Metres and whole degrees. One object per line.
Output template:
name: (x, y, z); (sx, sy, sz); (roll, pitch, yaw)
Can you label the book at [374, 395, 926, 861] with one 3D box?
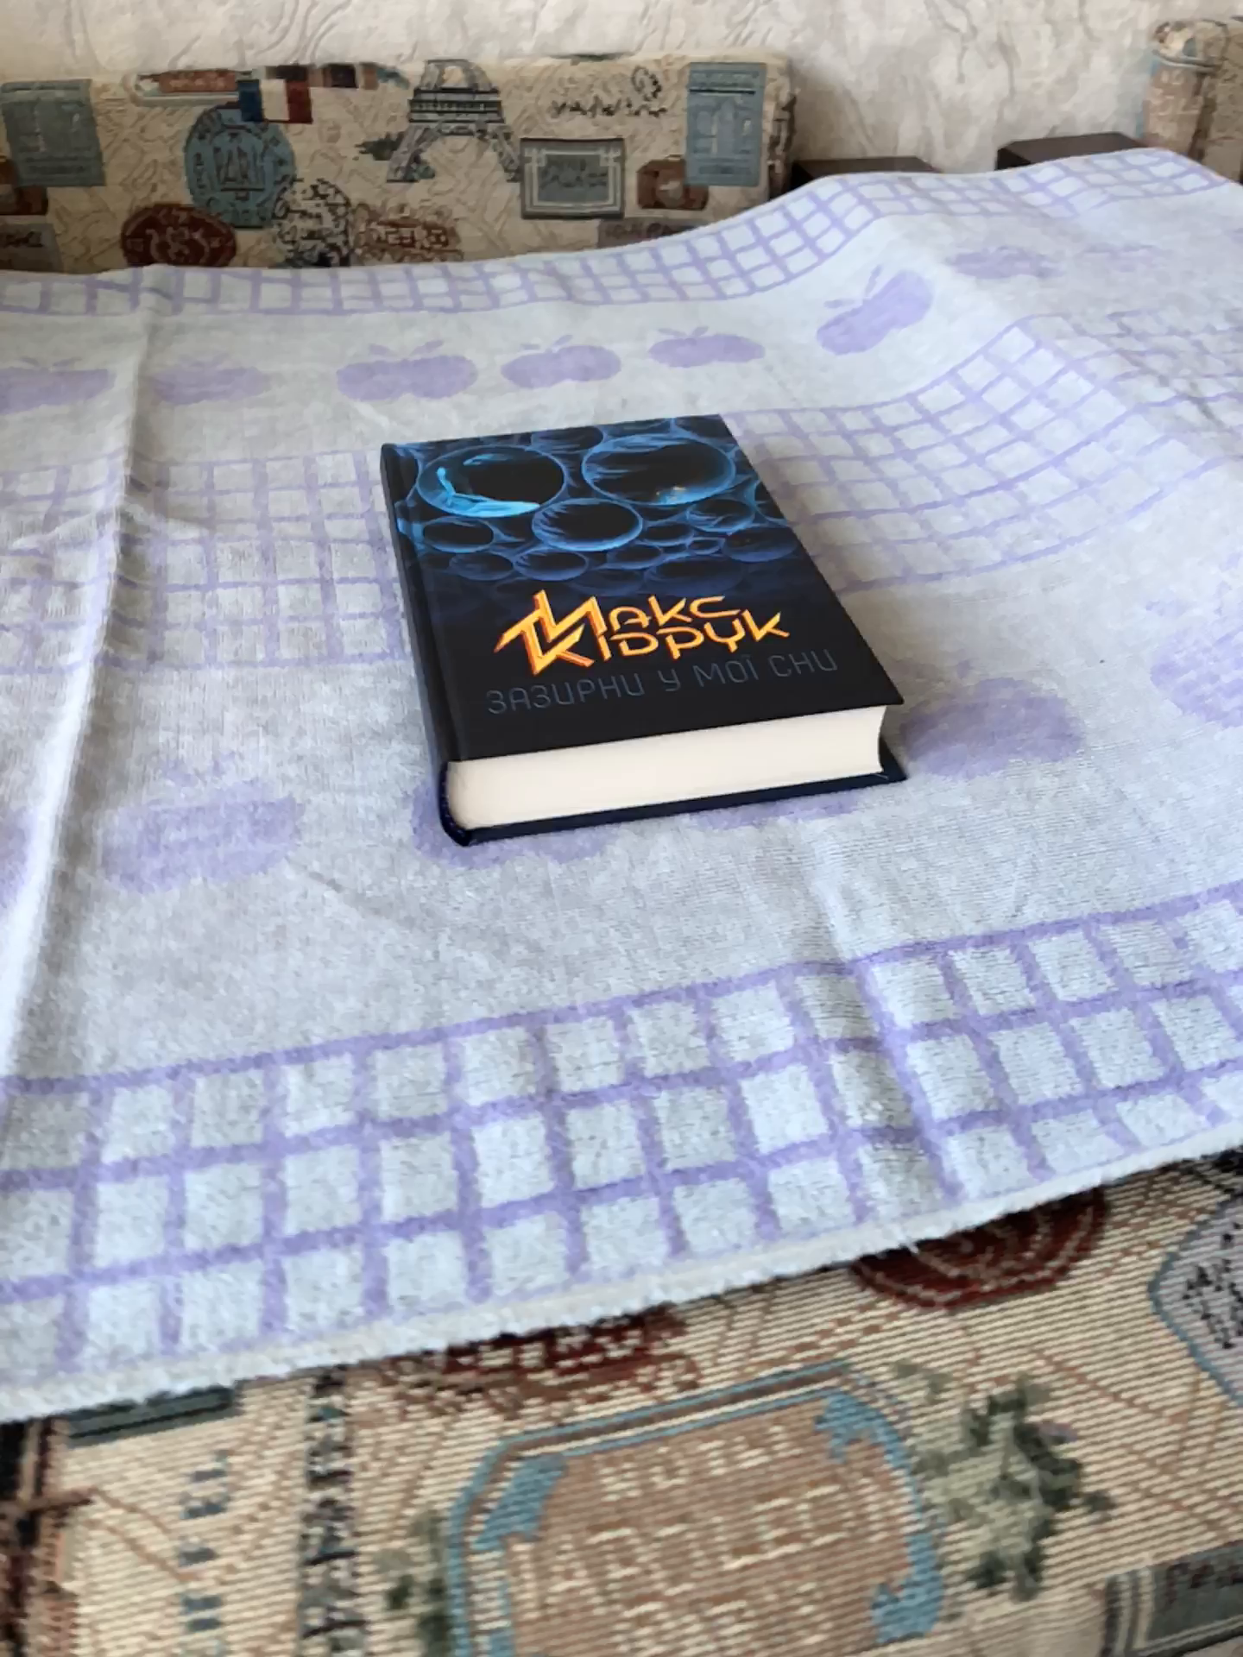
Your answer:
book: (-0.005, -0.083, 0.466); (0.140, 0.035, 0.222); (-7, 40, -9)
